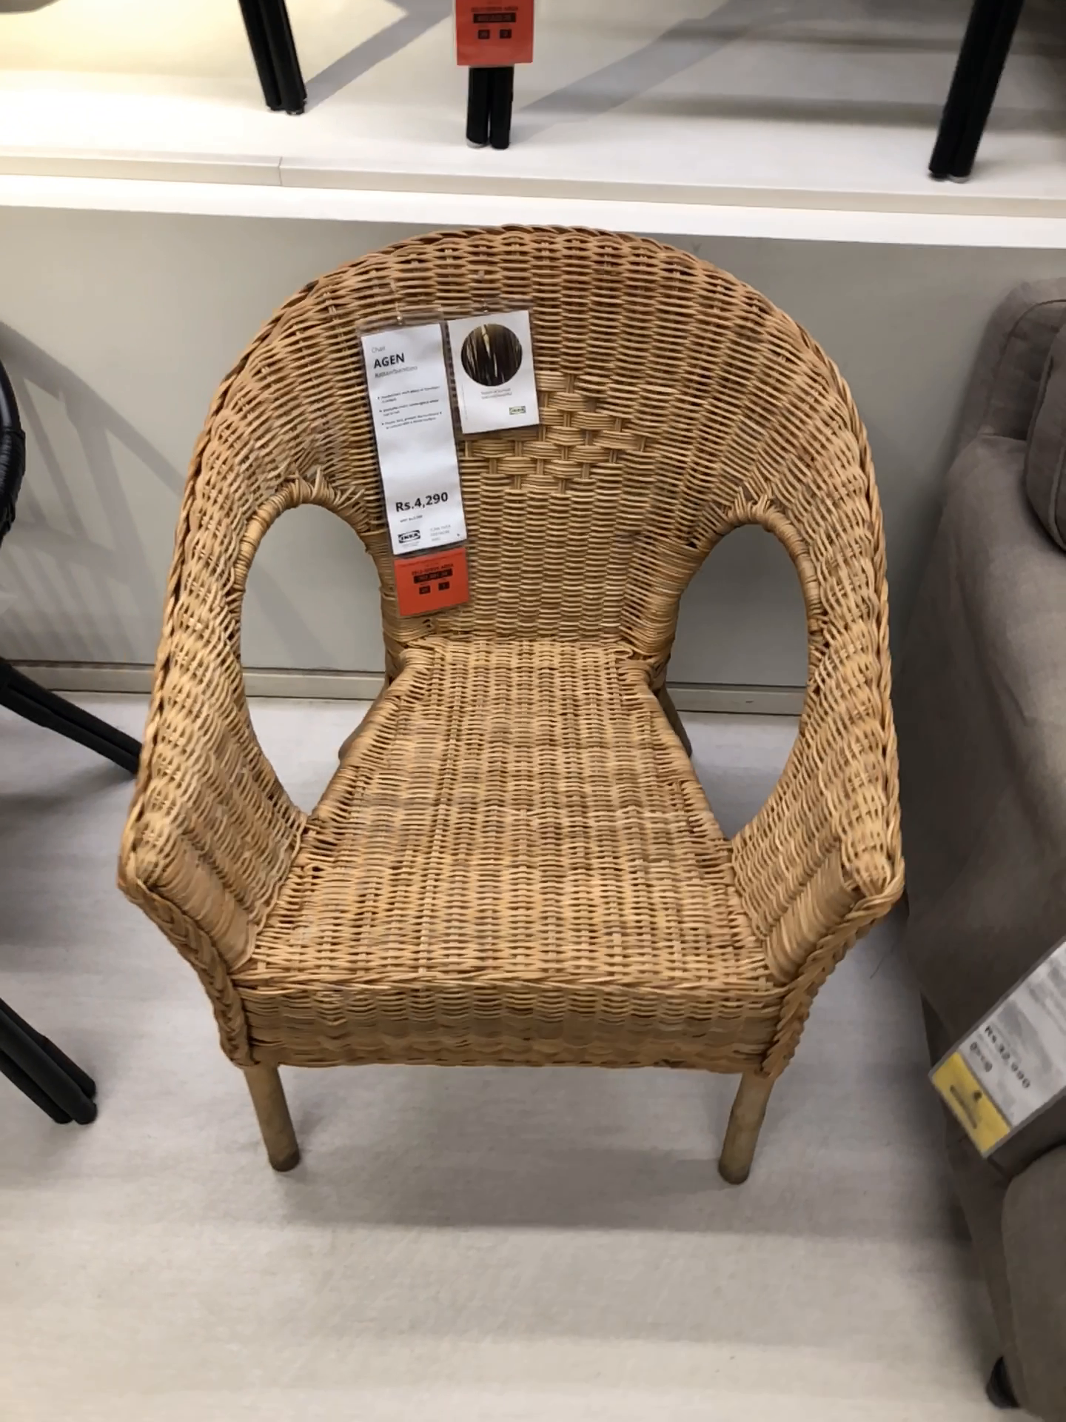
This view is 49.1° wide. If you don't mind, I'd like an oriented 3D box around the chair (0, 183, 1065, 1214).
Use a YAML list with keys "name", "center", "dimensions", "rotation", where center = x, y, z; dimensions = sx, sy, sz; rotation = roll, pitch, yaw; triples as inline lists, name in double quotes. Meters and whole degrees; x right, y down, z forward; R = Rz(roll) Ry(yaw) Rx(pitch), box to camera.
- name: "chair"
  center: [-0.001, 0.028, 1.047]
  dimensions: [0.550, 0.696, 0.603]
  rotation: [2, 52, 0]
